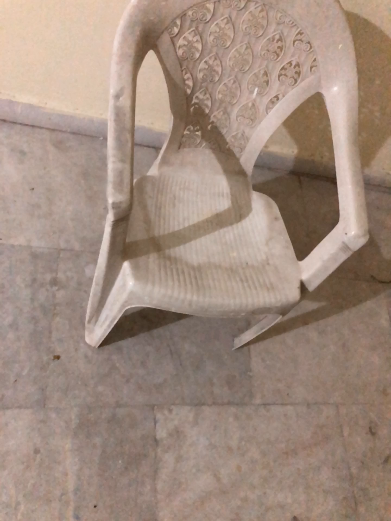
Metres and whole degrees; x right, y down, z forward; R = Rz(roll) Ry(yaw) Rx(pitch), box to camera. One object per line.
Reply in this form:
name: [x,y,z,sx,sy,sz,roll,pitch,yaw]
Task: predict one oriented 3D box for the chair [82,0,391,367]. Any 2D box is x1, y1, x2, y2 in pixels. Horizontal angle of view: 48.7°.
chair: [0.077,-0.112,0.979,0.531,0.835,0.512,6,63,-18]
